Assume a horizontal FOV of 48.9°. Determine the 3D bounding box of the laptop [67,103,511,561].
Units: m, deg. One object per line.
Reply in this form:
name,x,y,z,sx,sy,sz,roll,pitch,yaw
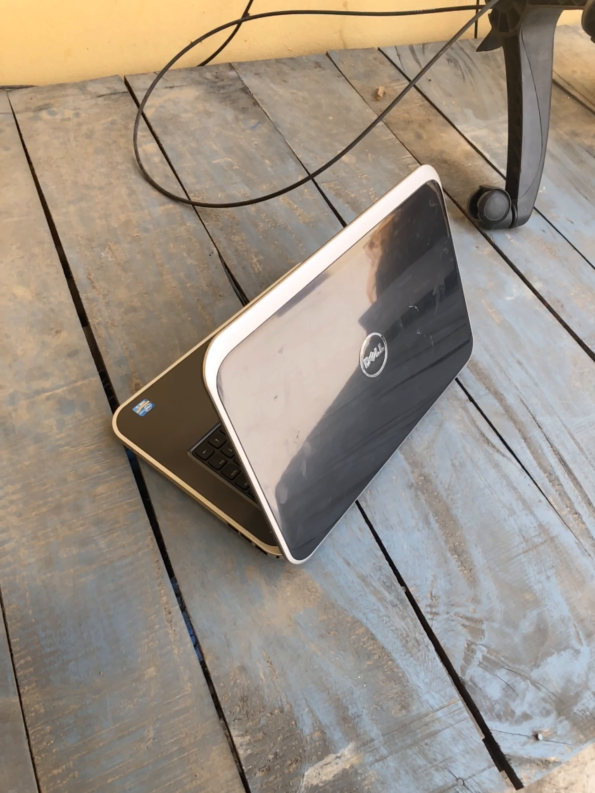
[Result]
laptop,0.006,-0.078,0.639,0.216,0.206,0.348,34,56,17
